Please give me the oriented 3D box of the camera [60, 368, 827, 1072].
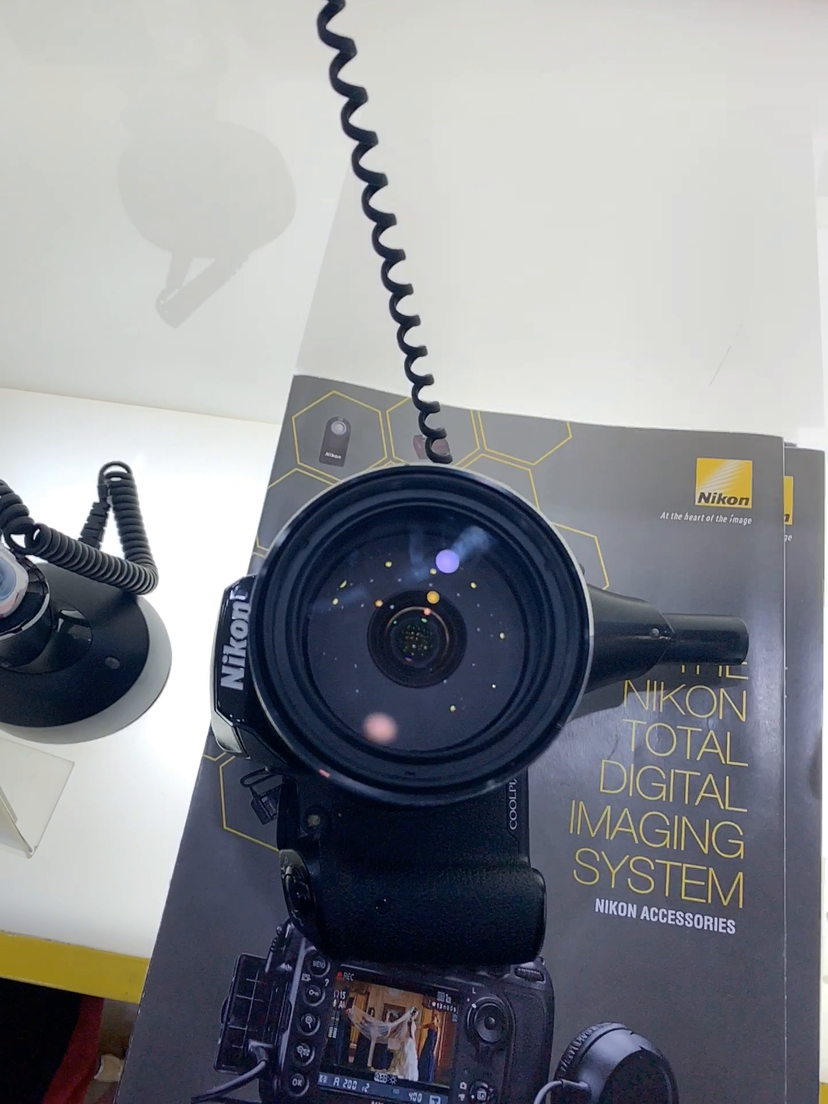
[{"bbox_3d":[0.034,0.047,0.227,0.200,0.100,0.140,4,68,-7],"label":"camera"}]
